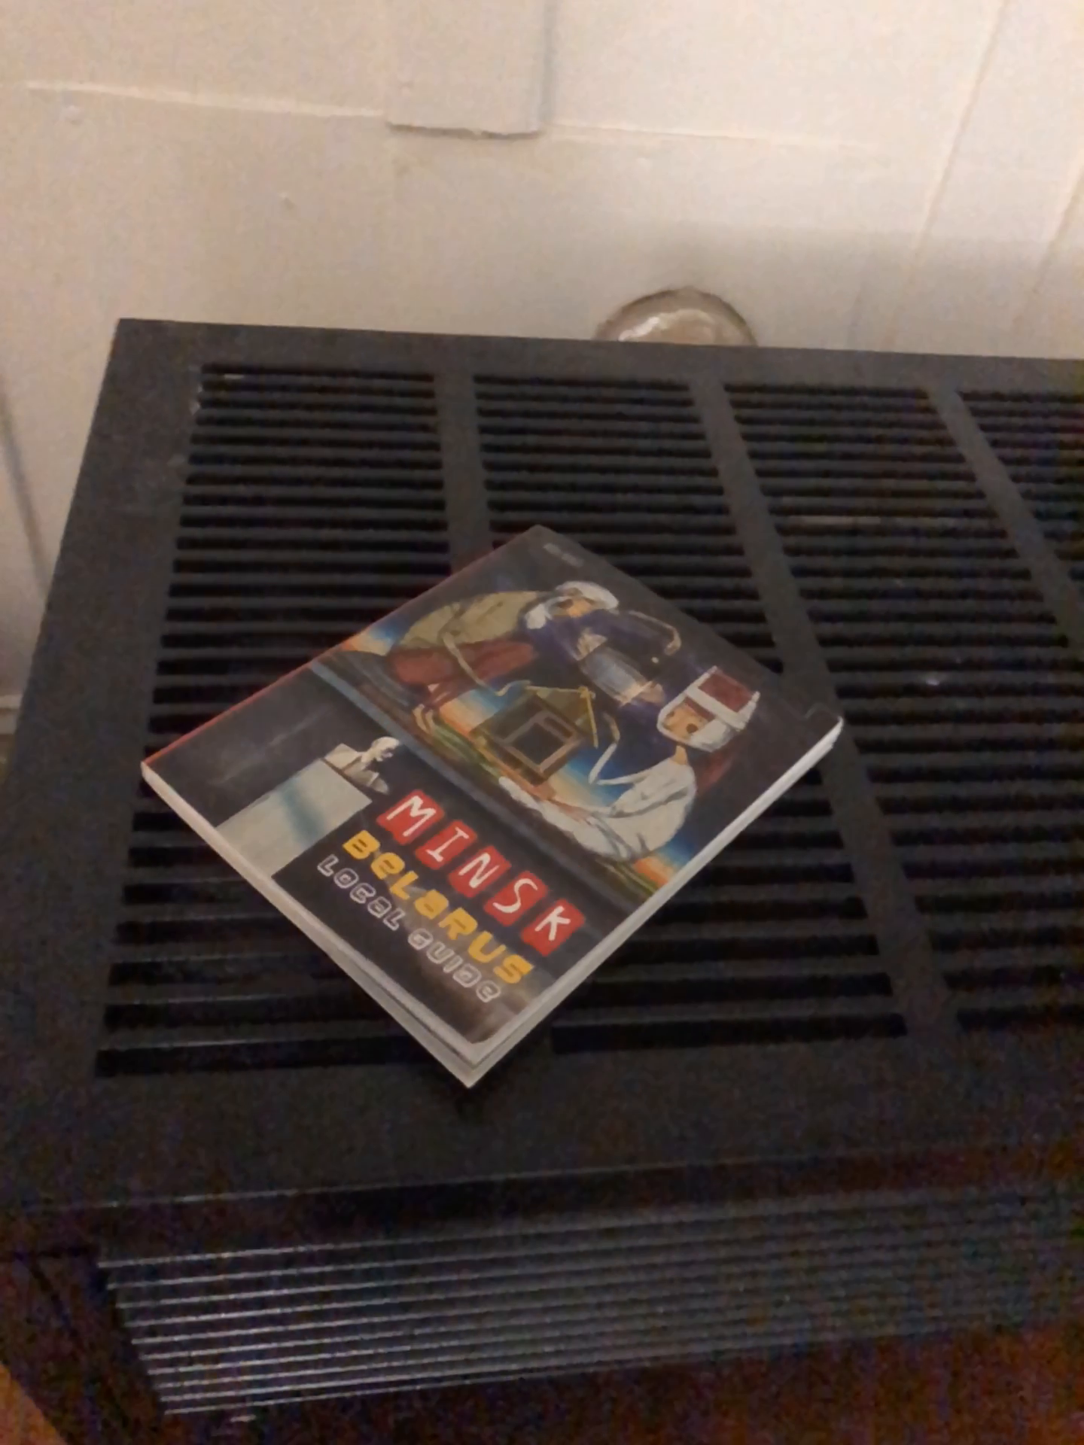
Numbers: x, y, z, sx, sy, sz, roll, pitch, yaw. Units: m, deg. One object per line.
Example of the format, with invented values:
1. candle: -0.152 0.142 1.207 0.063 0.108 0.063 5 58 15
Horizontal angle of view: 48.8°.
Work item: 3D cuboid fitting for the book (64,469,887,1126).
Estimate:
1. book: -0.014 0.001 0.377 0.160 0.020 0.201 37 52 25
